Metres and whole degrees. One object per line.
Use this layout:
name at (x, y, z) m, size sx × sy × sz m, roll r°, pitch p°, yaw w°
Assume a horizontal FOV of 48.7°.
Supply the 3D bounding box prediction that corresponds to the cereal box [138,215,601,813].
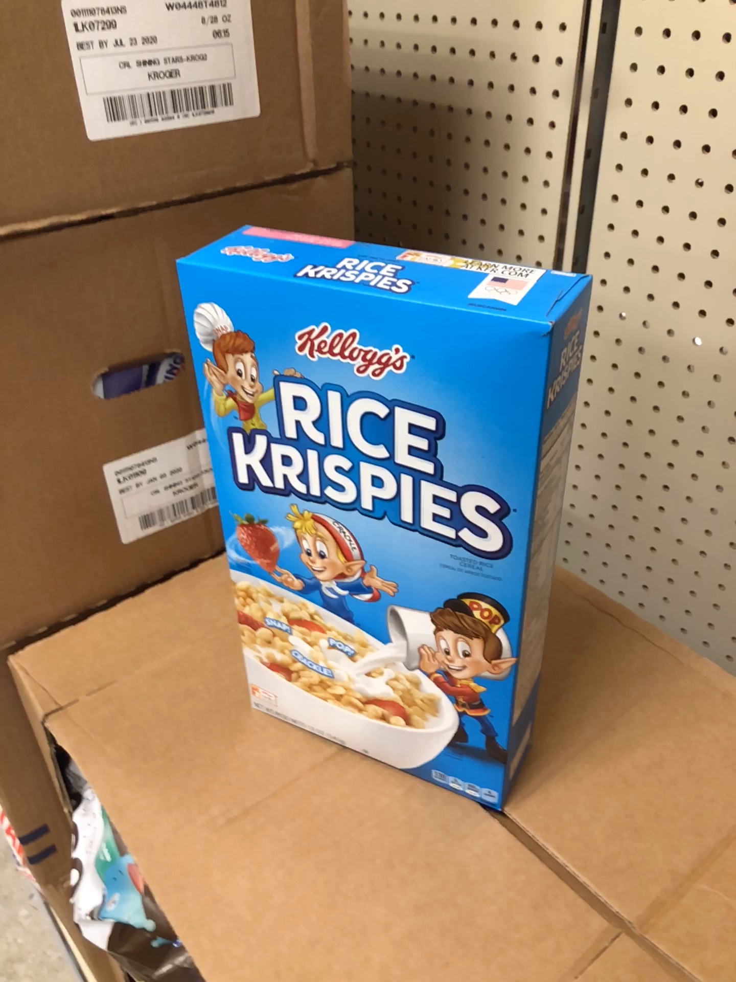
cereal box at (0.005, 0.024, 0.479) m, size 0.210 × 0.329 × 0.070 m, roll 15°, pitch 40°, yaw 24°
